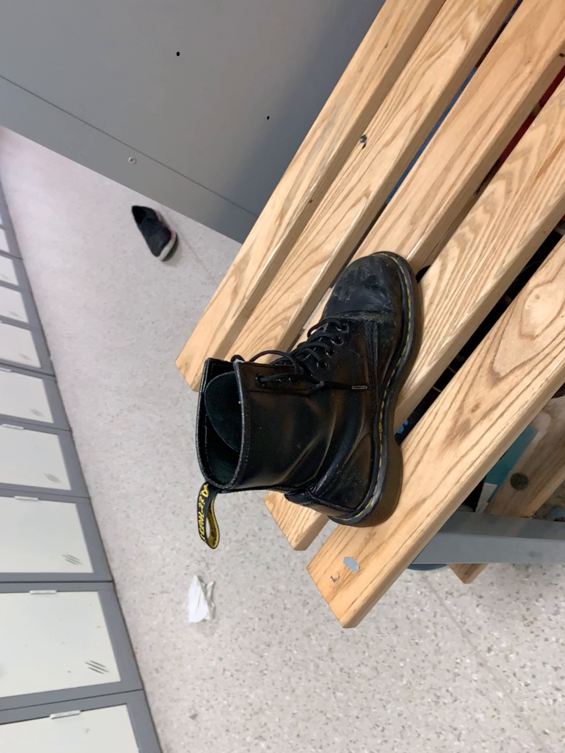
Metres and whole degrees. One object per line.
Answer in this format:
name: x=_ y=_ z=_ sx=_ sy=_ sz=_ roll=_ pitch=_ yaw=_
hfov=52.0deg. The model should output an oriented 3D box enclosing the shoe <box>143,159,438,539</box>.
shoe: x=0.019 y=-0.007 z=0.501 sx=0.107 sy=0.198 sz=0.261 roll=-1 pitch=76 yaw=47
